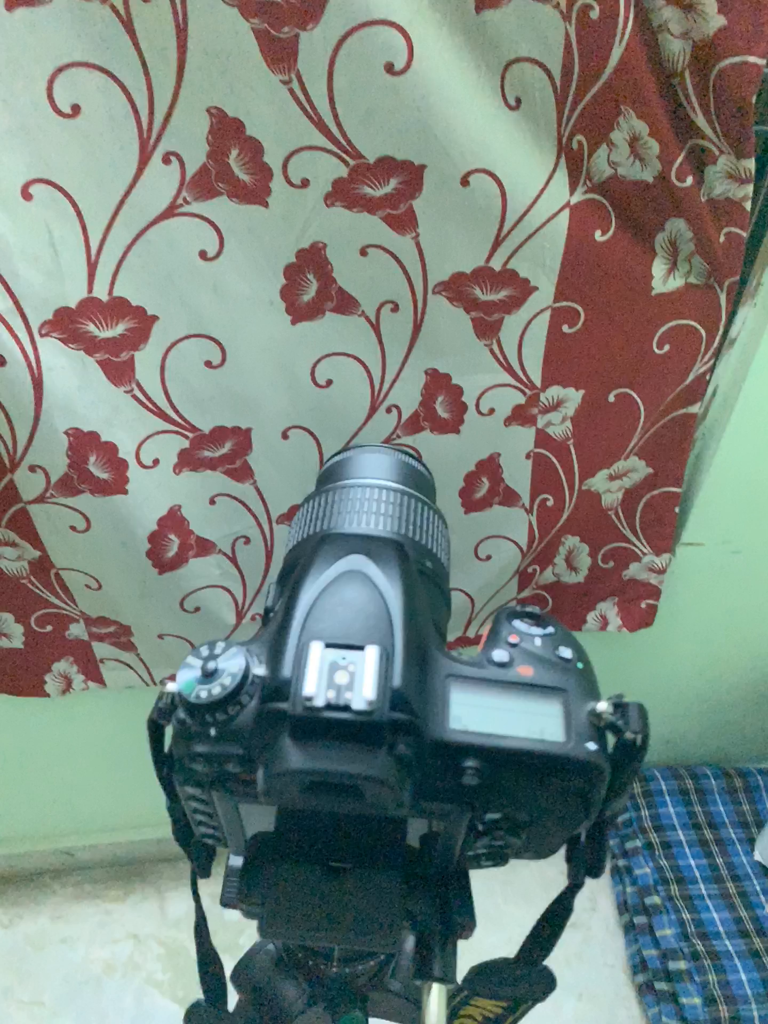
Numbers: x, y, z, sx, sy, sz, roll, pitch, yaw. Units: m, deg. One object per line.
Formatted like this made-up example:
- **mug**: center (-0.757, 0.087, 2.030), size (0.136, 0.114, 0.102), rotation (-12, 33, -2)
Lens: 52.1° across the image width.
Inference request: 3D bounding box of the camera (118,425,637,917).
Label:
- **camera**: center (-0.001, 0.056, 0.295), size (0.139, 0.112, 0.130), rotation (4, 40, 0)
